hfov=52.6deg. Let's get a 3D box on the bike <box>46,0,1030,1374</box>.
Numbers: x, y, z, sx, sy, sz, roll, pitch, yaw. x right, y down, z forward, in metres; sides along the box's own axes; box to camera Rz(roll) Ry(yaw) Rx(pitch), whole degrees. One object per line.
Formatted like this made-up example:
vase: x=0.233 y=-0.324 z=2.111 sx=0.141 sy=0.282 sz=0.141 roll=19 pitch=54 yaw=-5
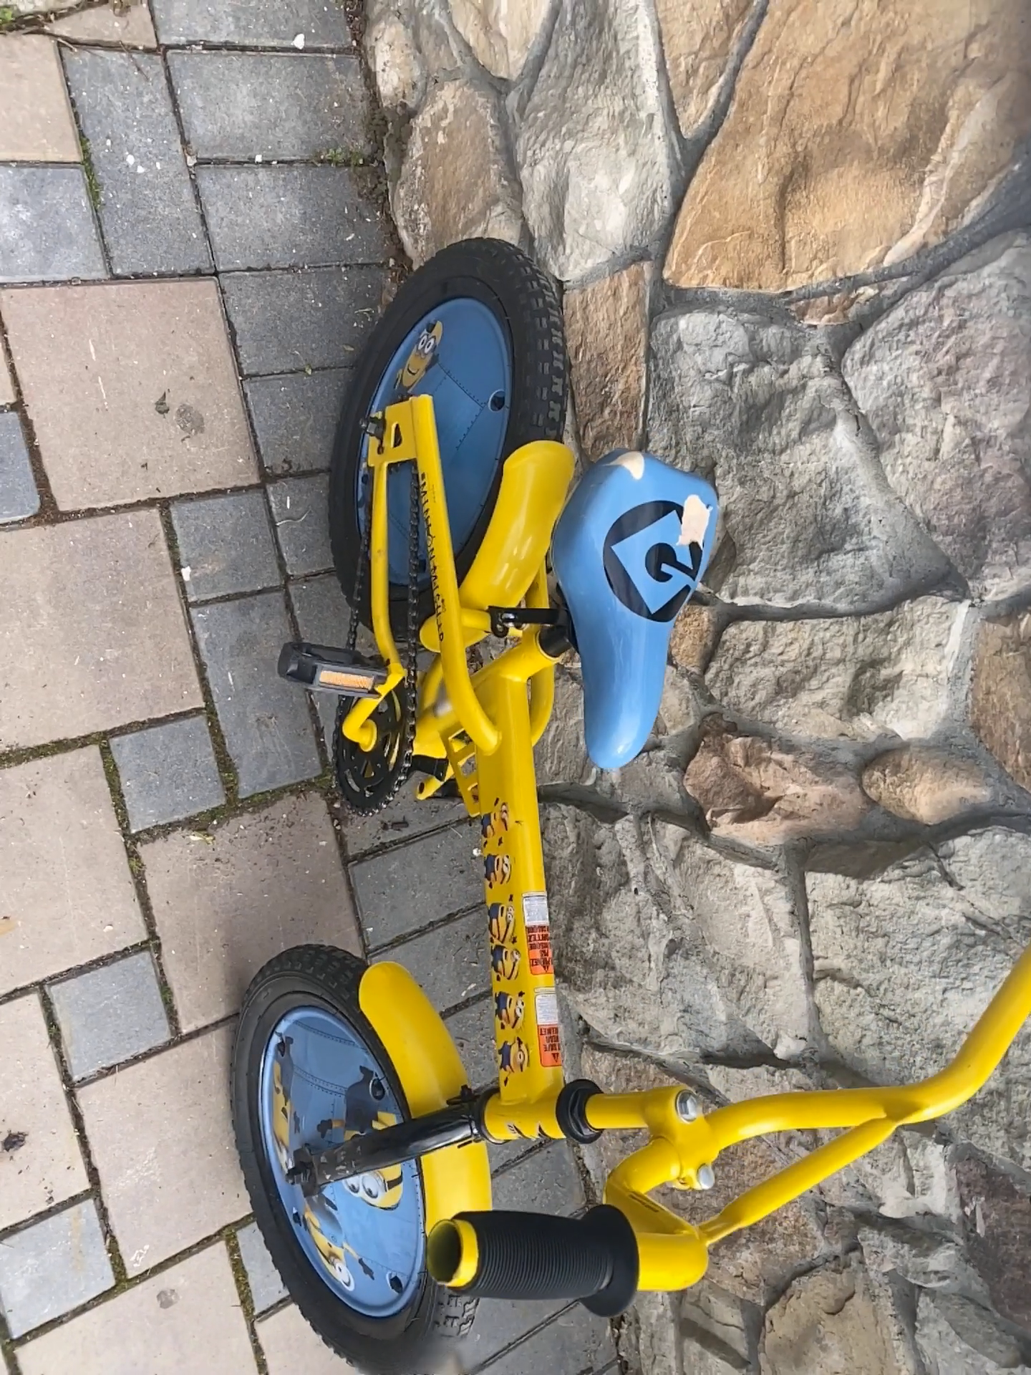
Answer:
bike: x=0.044 y=0.124 z=0.871 sx=0.621 sy=0.737 sz=1.085 roll=6 pitch=86 yaw=-33
